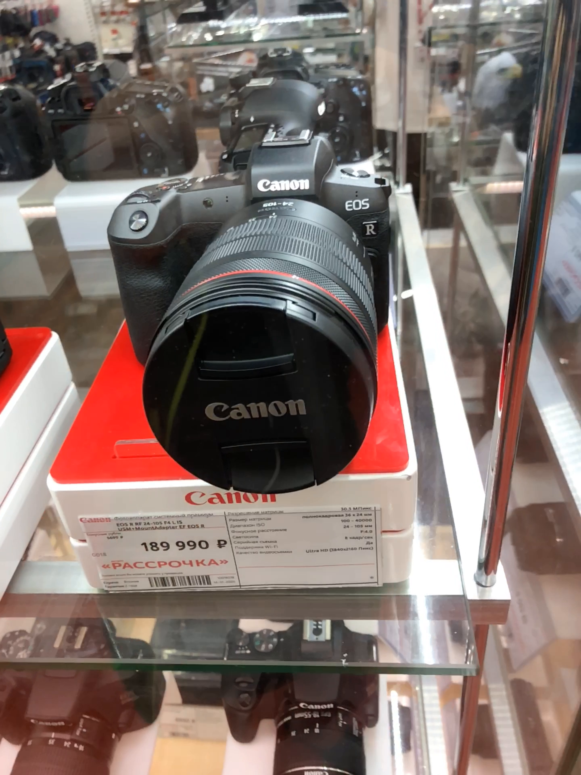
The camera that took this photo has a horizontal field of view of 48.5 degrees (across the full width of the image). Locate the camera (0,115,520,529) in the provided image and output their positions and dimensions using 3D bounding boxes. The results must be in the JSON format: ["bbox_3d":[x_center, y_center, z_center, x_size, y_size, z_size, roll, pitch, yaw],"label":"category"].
[{"bbox_3d":[-0.004,-0.041,0.275,0.144,0.093,0.181,-2,35,5],"label":"camera"}]
